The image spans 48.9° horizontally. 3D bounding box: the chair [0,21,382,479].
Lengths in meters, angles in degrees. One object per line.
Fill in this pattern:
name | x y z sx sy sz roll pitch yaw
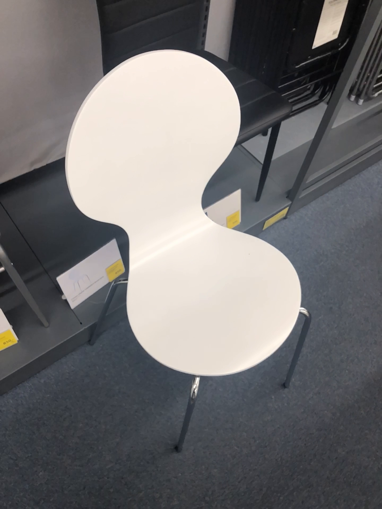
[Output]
chair | 0.004 0.045 1.047 0.561 0.818 0.641 -25 63 -21
